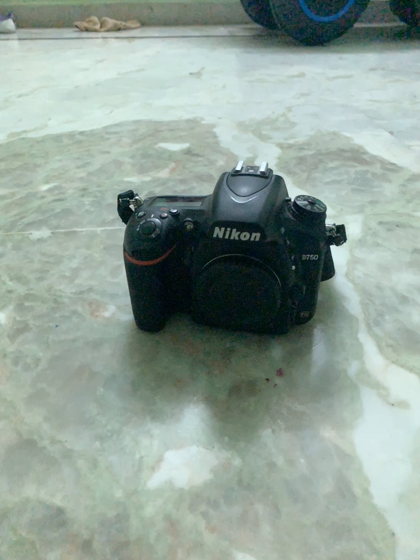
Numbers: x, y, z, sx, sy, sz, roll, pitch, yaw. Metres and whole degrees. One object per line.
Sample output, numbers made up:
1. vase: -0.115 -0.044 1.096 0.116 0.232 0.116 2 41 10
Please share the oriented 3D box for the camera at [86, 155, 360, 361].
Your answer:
1. camera: 0.012 -0.019 0.294 0.150 0.100 0.080 6 36 10
